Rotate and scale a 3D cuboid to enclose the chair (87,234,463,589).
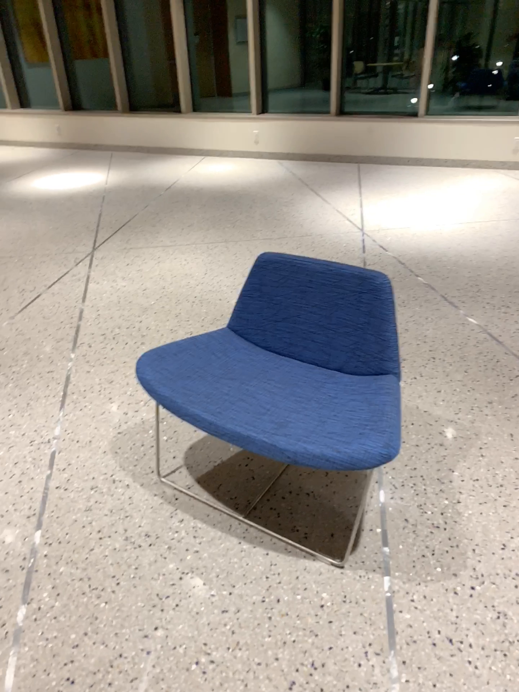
[{"bbox_3d":[0.065,0.119,1.776,0.943,0.698,0.665,16,34,29],"label":"chair"}]
